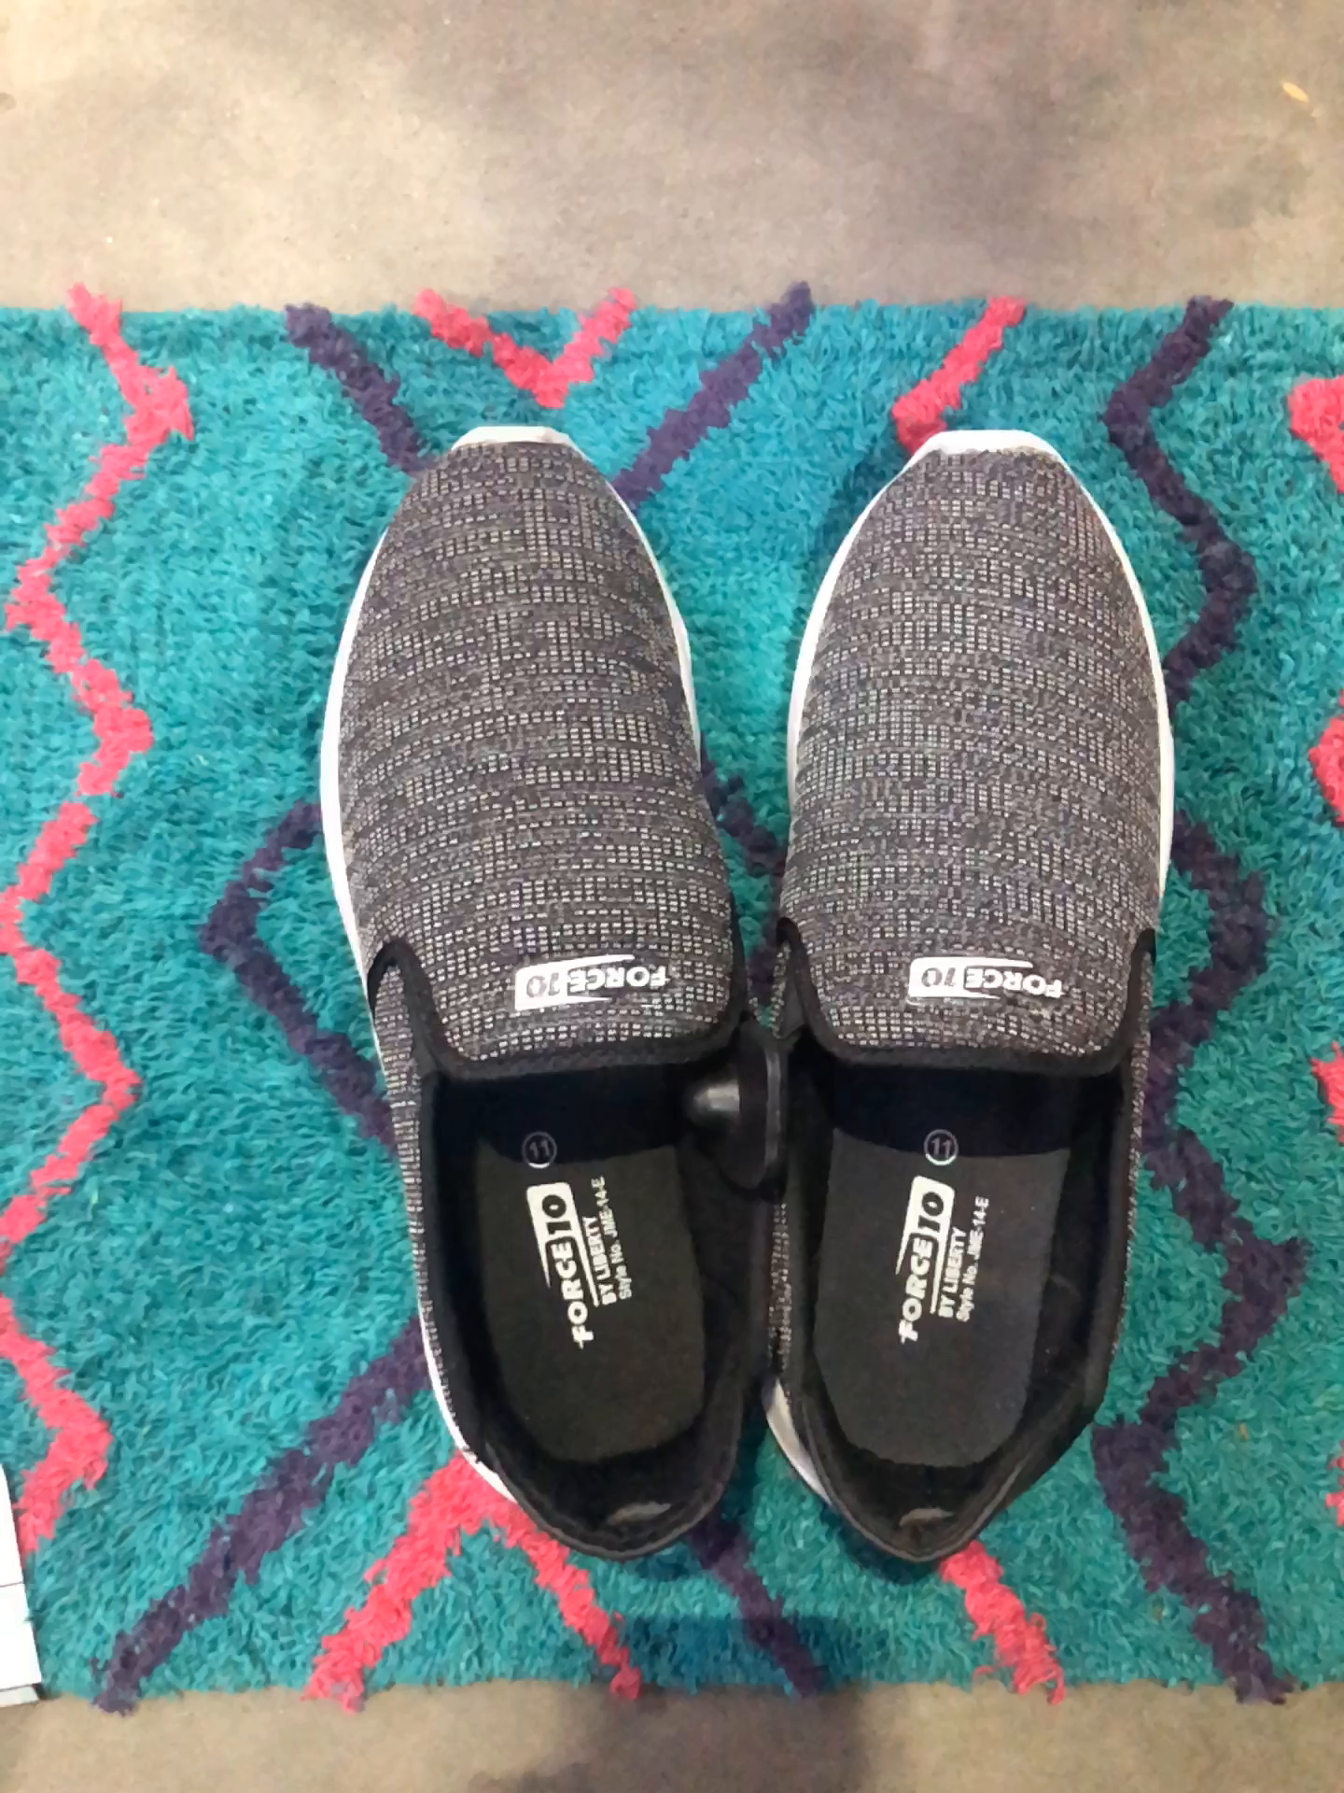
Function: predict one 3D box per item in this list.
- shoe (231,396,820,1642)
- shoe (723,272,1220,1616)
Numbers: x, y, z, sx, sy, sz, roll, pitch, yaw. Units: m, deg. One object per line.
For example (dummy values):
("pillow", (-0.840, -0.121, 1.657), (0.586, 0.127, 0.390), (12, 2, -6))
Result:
("shoe", (-0.039, 0.029, 0.424), (0.110, 0.100, 0.300), (-8, 84, 0))
("shoe", (0.079, 0.009, 0.420), (0.110, 0.100, 0.330), (3, 84, 1))
